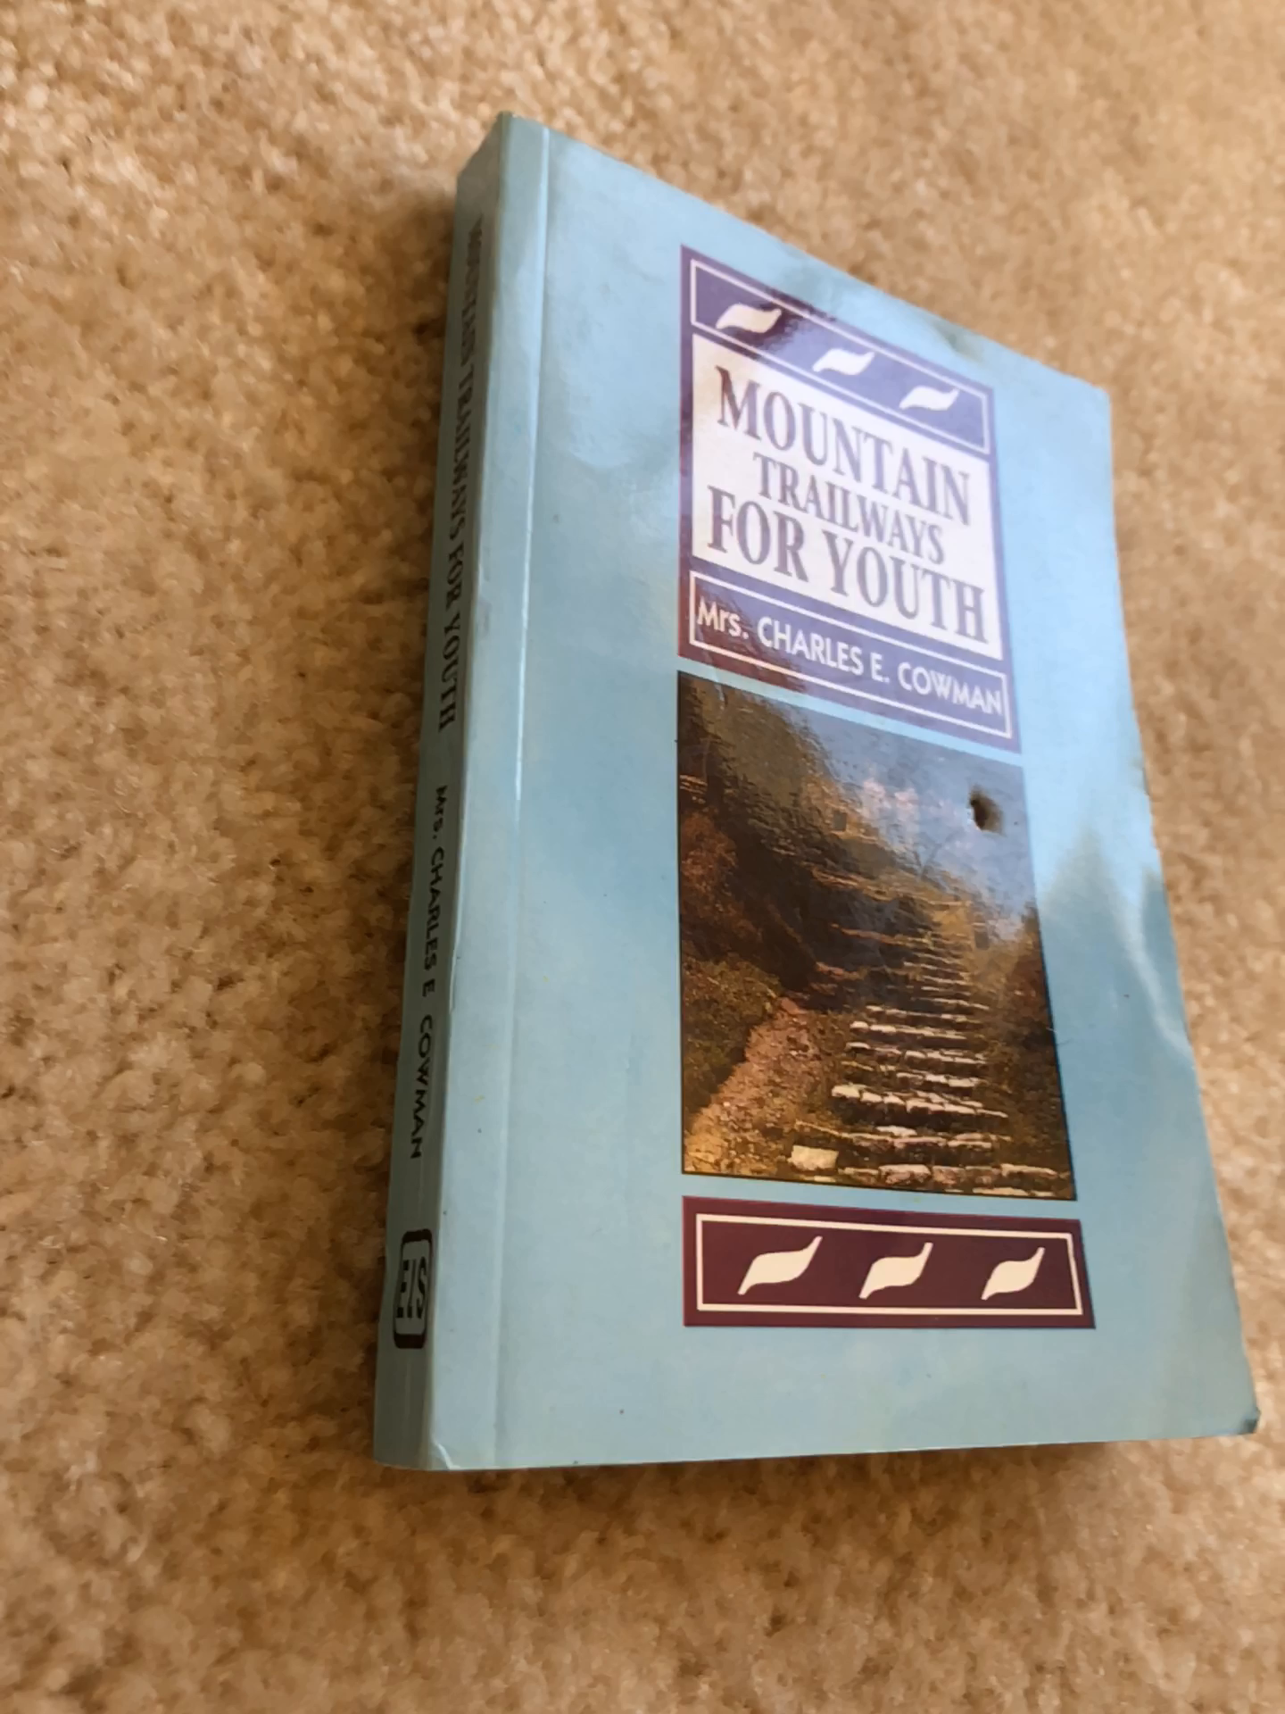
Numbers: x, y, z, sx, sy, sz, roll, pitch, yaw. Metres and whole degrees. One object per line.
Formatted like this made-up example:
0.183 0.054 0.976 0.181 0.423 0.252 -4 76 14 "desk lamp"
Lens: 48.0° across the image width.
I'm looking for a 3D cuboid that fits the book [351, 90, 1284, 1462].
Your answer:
0.029 -0.008 0.207 0.122 0.030 0.170 11 69 -27 "book"
